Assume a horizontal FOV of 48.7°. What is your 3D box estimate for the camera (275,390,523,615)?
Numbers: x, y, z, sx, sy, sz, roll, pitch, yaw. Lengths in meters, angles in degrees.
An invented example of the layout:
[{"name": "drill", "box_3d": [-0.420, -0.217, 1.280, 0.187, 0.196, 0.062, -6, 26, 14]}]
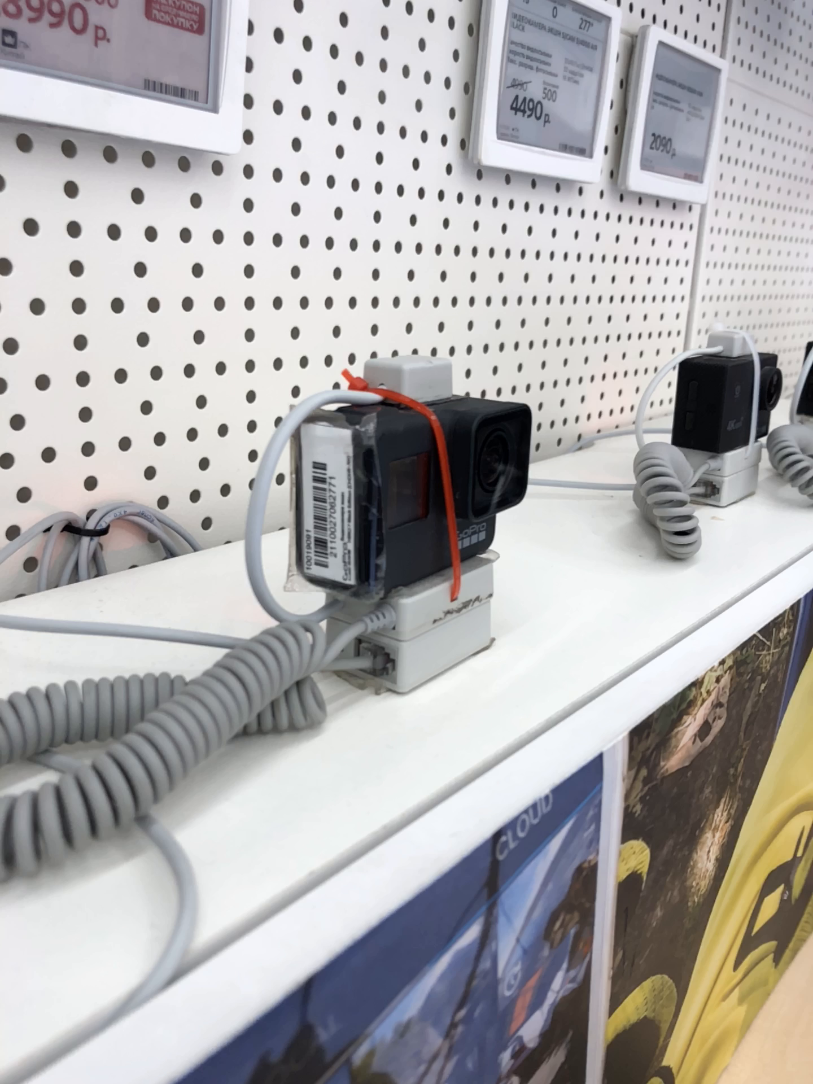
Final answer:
[{"name": "camera", "box_3d": [0.000, -0.014, 0.235, 0.032, 0.043, 0.064, 13, 20, 33]}]
